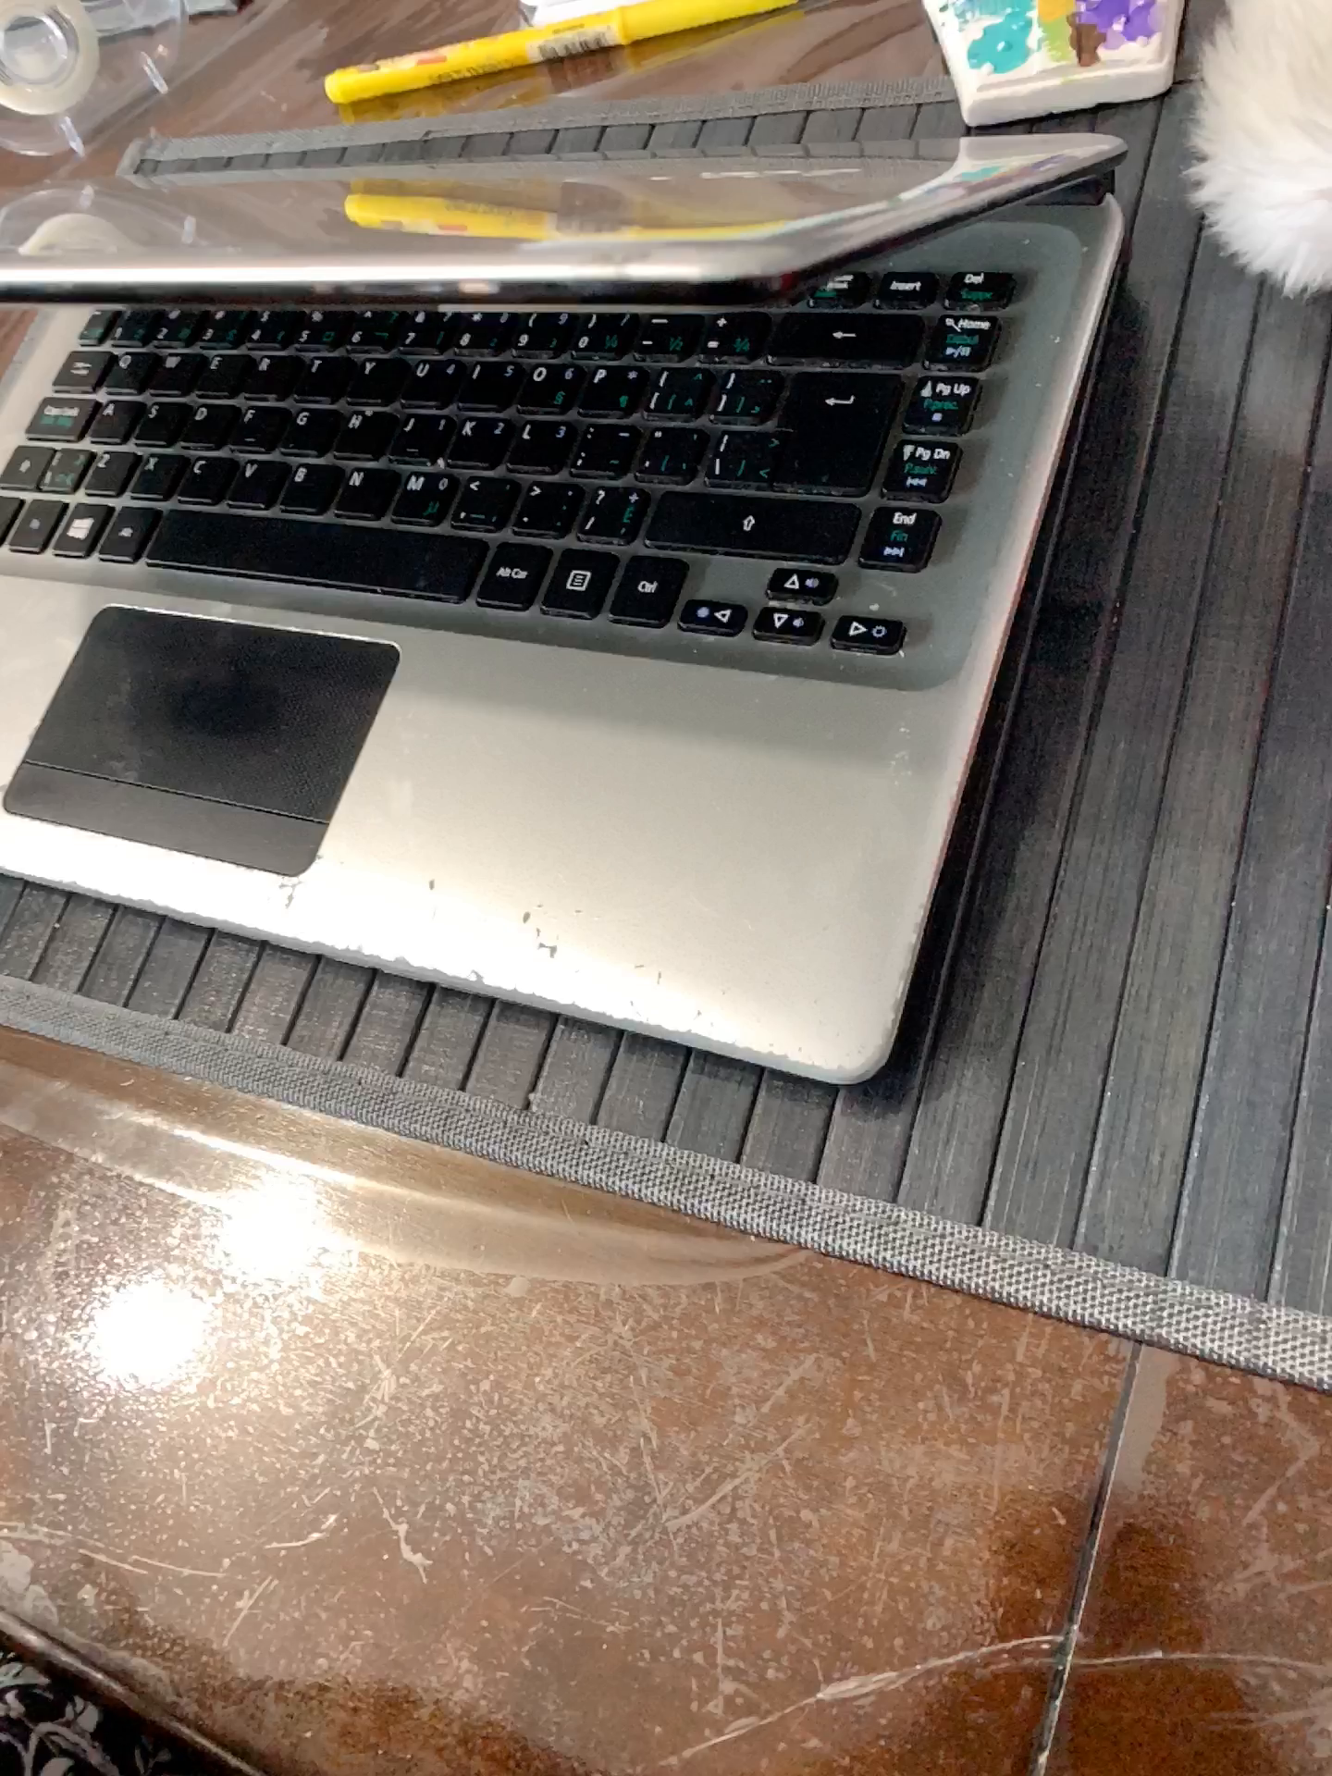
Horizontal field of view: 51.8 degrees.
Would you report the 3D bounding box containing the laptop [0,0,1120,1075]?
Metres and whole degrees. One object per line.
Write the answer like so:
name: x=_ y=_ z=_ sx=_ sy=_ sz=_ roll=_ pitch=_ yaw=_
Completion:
laptop: x=-0.100 y=-0.124 z=0.313 sx=0.344 sy=0.141 sz=0.225 roll=11 pitch=72 yaw=24
